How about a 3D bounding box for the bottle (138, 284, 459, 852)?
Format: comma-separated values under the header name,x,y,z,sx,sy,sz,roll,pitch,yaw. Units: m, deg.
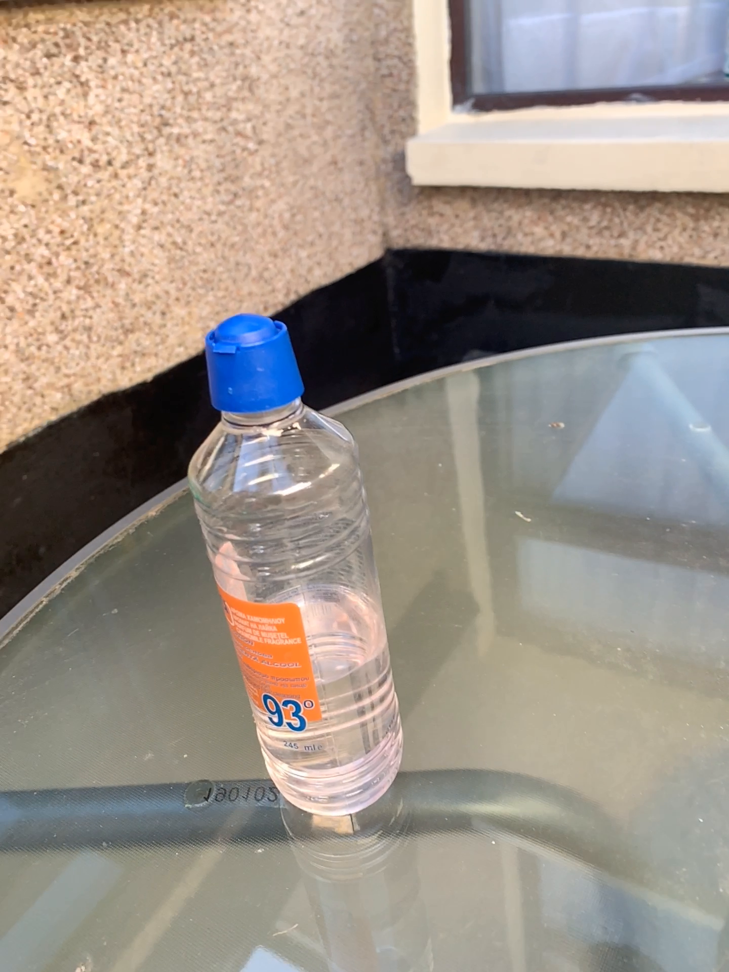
name,x,y,z,sx,sy,sz,roll,pitch,yaw
bottle,-0.015,0.028,0.237,0.060,0.158,0.060,-5,31,3
